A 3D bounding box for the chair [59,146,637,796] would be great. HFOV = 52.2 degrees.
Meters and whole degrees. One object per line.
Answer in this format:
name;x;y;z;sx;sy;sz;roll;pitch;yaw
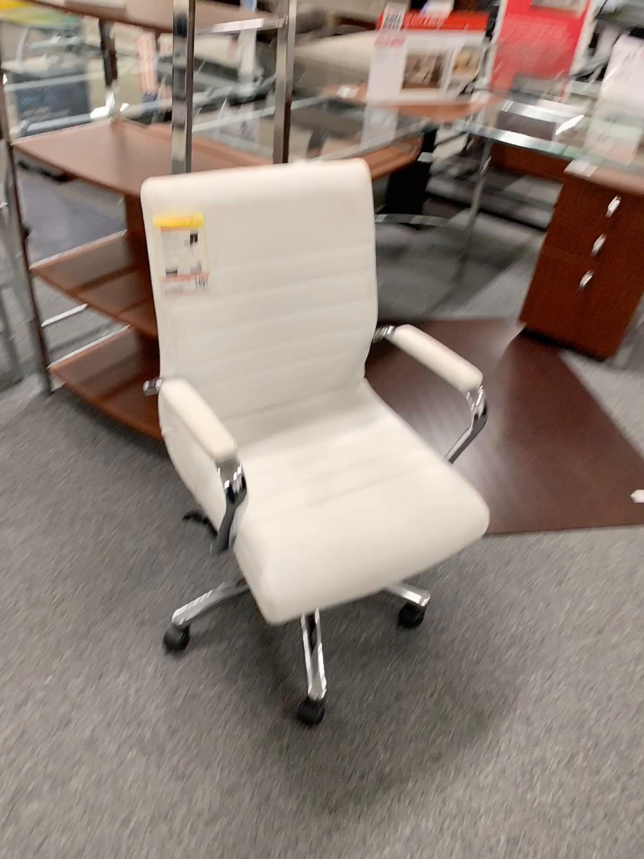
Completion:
chair;-0.039;0.043;1.281;0.621;0.905;0.683;-16;44;-26
